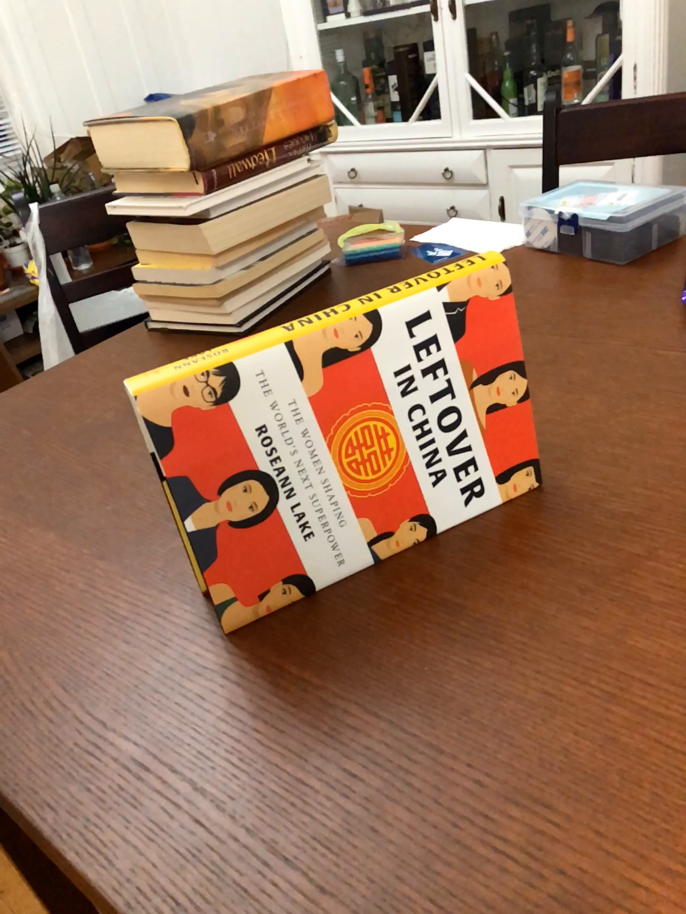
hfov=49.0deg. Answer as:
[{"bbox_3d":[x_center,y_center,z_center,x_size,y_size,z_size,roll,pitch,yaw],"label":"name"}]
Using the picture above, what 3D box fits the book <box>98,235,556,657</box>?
[{"bbox_3d":[0.007,-0.011,0.480,0.260,0.179,0.060,-22,32,-16],"label":"book"}]
